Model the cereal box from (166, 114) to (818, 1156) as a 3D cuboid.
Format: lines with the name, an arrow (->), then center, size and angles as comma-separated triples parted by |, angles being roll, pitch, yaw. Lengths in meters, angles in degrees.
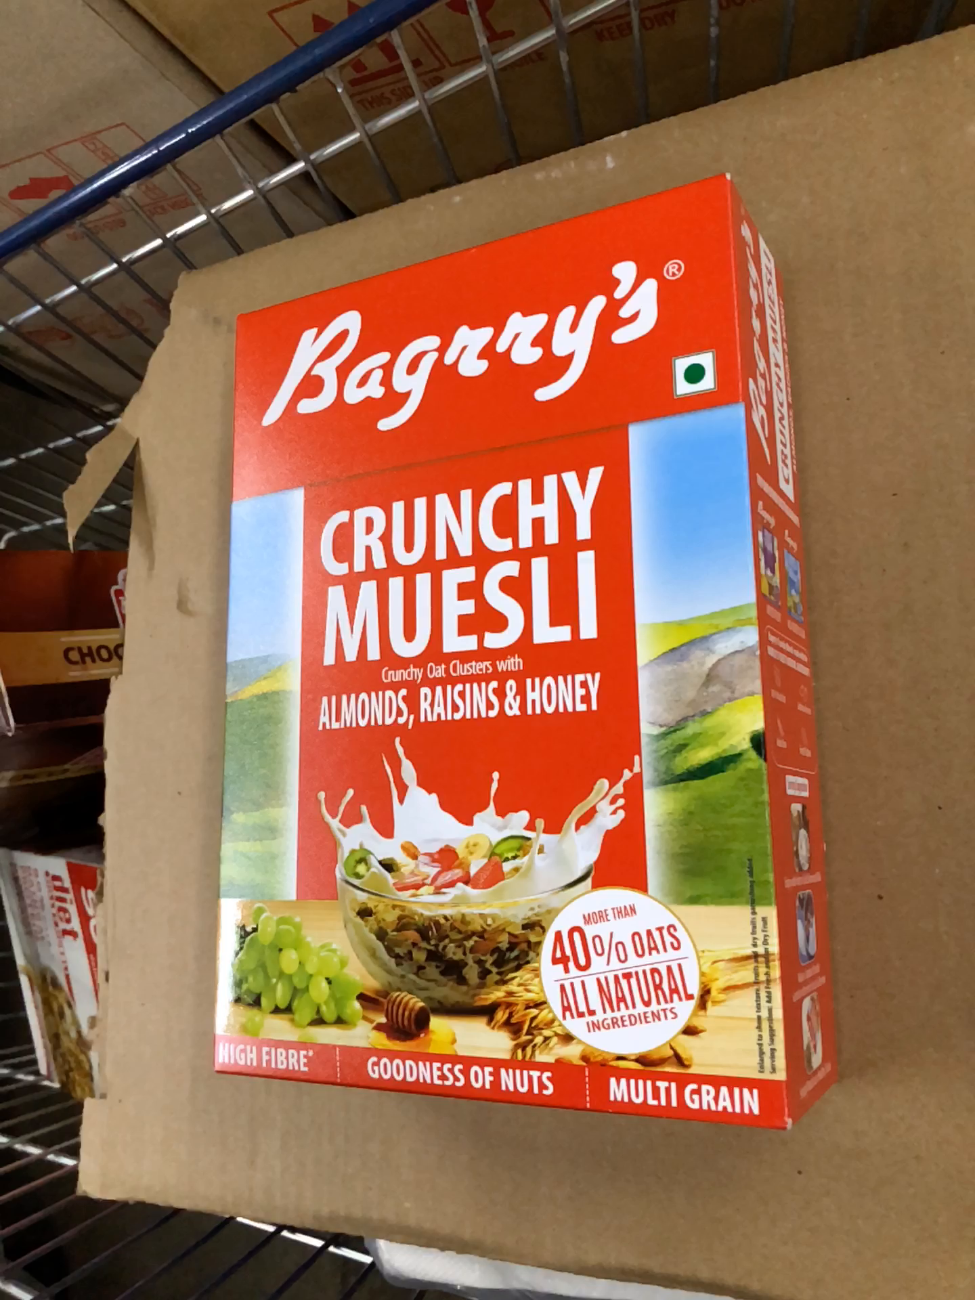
cereal box -> -0.005, -0.001, 0.337 | 0.180, 0.070, 0.260 | -6, 80, 27
